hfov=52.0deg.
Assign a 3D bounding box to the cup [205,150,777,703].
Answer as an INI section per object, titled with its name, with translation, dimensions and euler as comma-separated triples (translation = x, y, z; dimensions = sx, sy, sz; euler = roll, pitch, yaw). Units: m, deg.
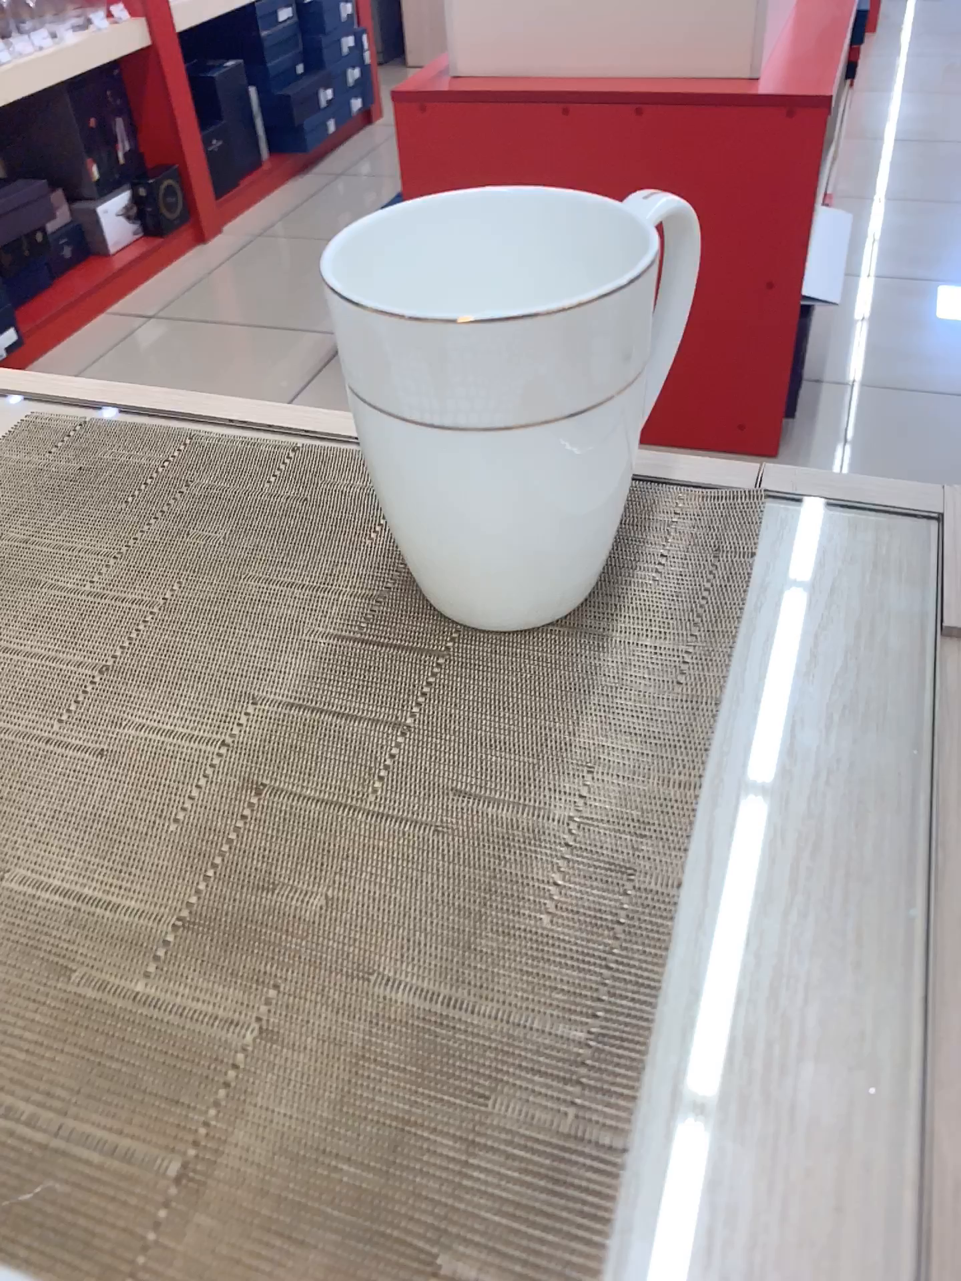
[cup]
translation = 0.005, -0.069, 0.291
dimensions = 0.120, 0.100, 0.090
euler = -29, 47, -25
